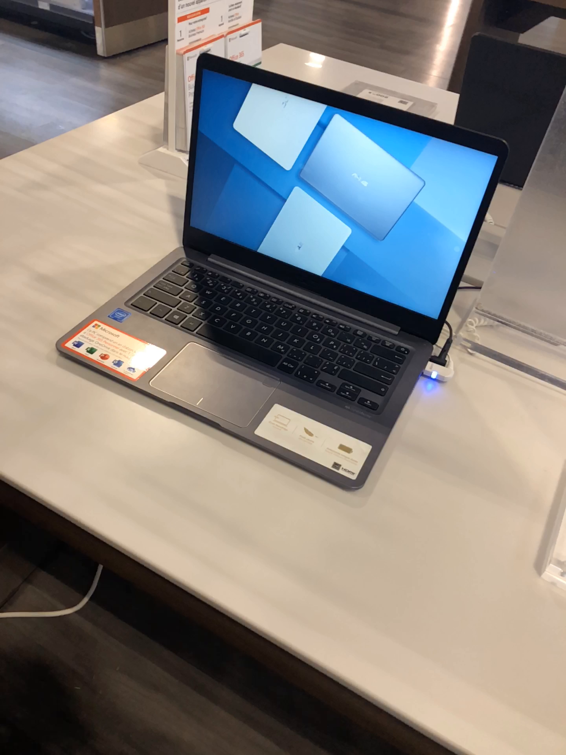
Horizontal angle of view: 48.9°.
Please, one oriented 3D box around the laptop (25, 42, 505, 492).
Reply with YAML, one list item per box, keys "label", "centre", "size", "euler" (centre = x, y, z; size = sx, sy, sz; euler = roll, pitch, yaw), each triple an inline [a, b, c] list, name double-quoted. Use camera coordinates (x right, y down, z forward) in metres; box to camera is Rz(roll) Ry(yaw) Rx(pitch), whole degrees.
- label: "laptop"
  centre: [-0.005, -0.133, 0.607]
  size: [0.333, 0.180, 0.301]
  euler: [23, 49, 13]
